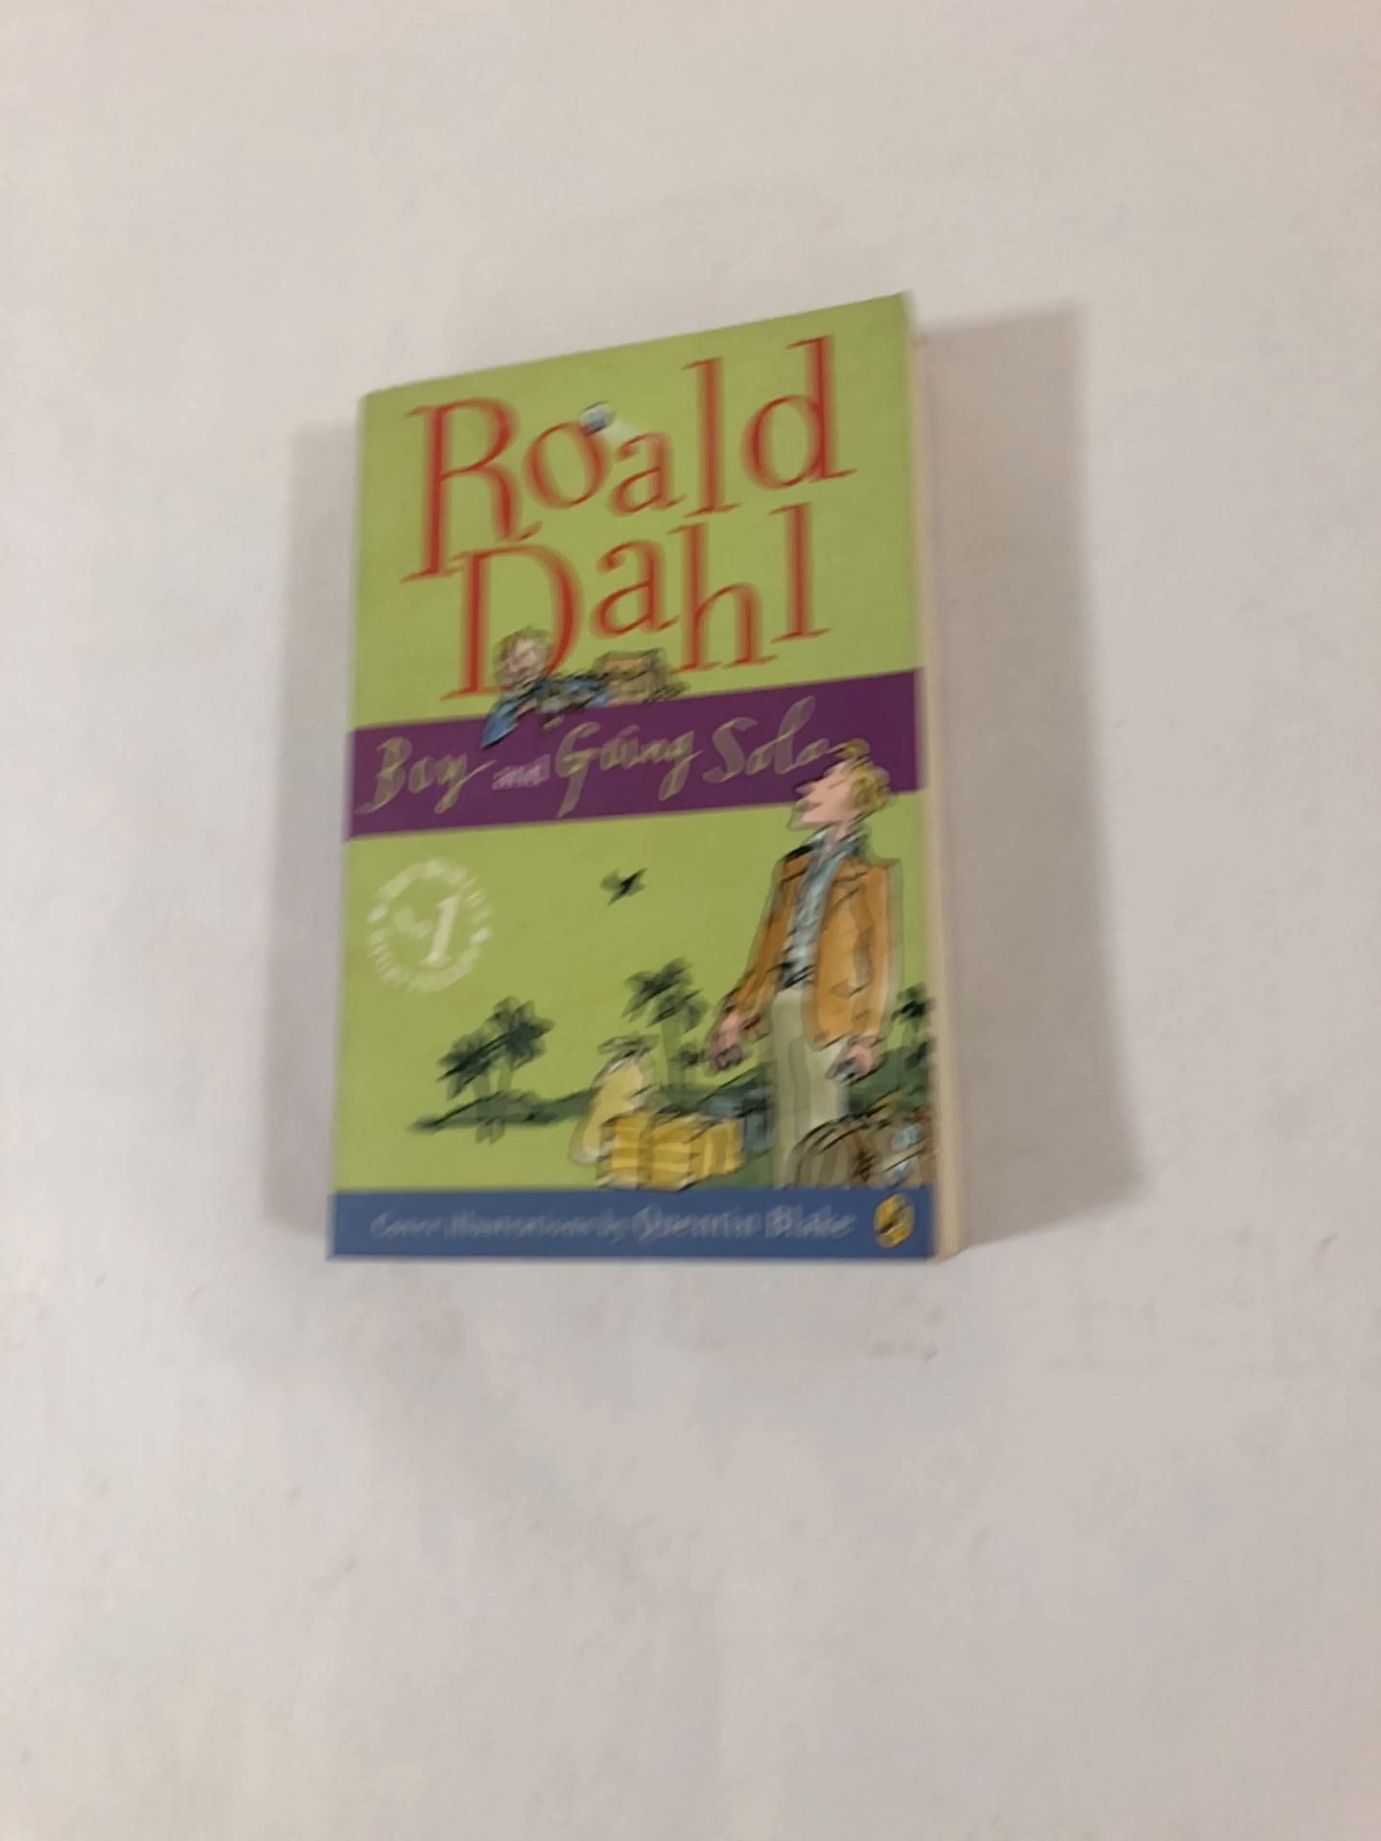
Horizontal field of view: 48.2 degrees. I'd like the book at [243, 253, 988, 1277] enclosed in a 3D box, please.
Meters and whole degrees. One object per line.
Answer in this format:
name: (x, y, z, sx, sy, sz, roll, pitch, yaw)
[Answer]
book: (-0.017, -0.027, 0.317, 0.140, 0.036, 0.193, -4, 79, 15)
